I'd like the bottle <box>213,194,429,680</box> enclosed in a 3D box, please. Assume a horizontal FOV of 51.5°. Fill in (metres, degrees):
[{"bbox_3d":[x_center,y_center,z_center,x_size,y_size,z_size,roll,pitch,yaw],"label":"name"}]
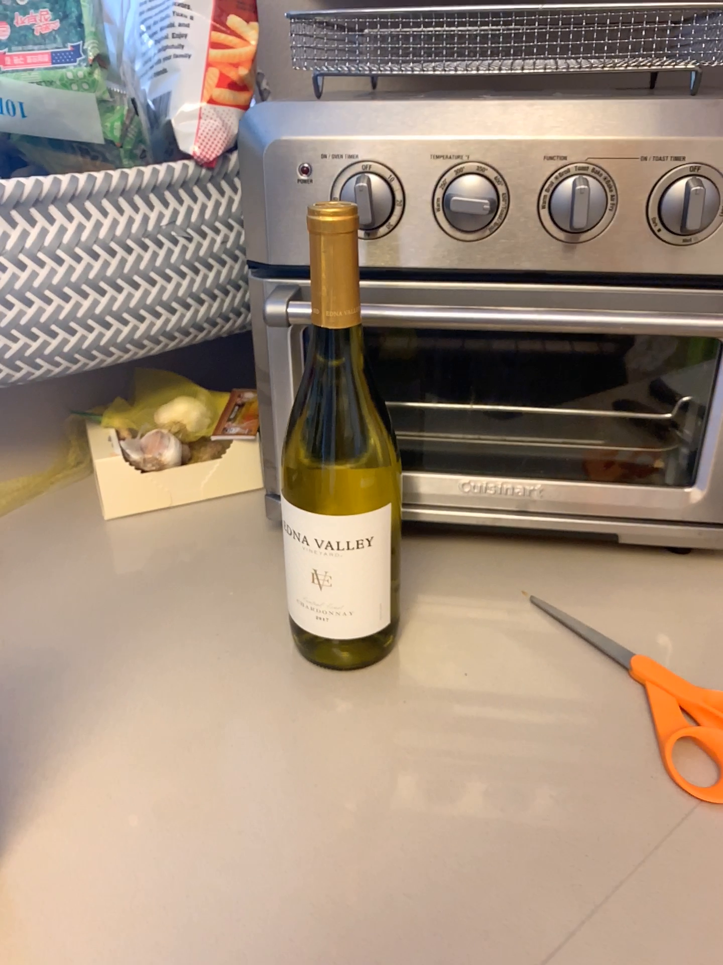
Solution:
[{"bbox_3d":[-0.015,-0.023,0.464,0.090,0.278,0.091,-1,28,0],"label":"bottle"}]
